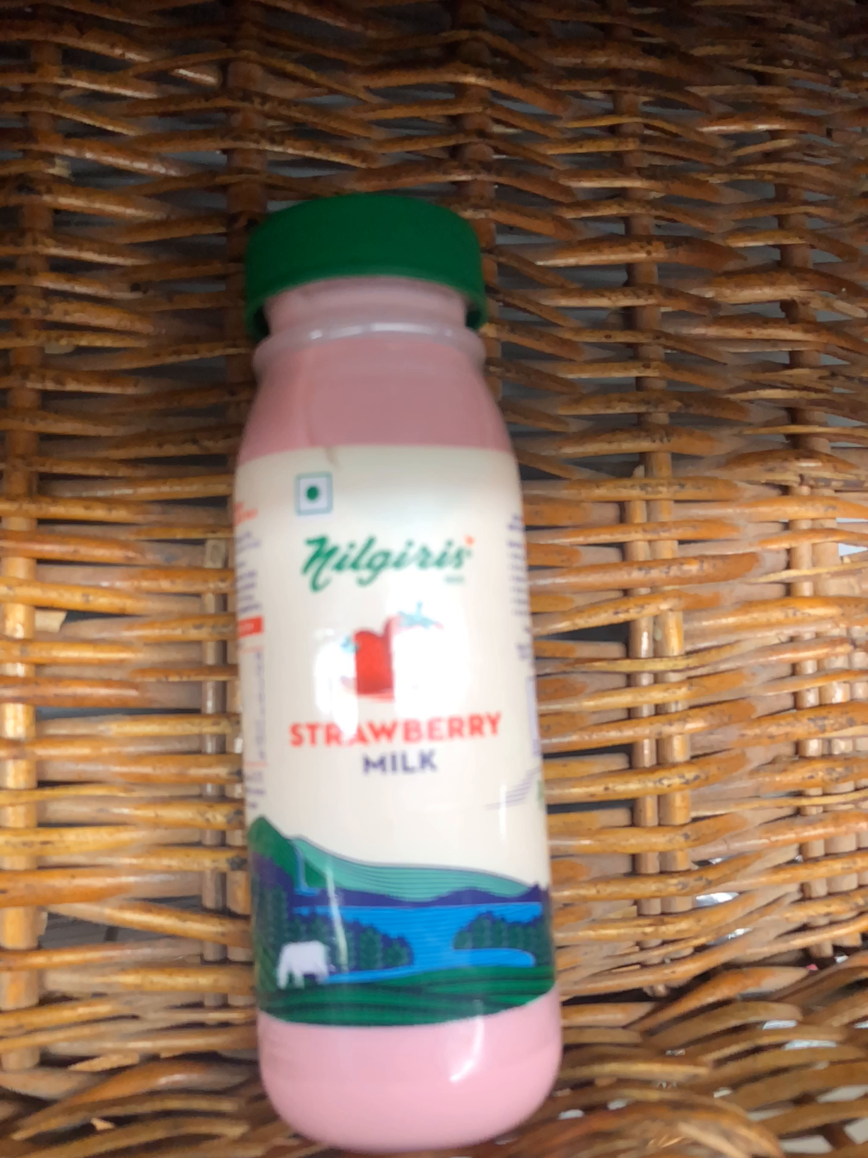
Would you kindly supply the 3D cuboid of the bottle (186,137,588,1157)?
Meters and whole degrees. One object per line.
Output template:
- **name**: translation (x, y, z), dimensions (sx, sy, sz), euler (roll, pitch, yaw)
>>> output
- **bottle**: translation (-0.011, 0.013, 0.155), dimensions (0.050, 0.040, 0.150), euler (-2, 86, -14)
